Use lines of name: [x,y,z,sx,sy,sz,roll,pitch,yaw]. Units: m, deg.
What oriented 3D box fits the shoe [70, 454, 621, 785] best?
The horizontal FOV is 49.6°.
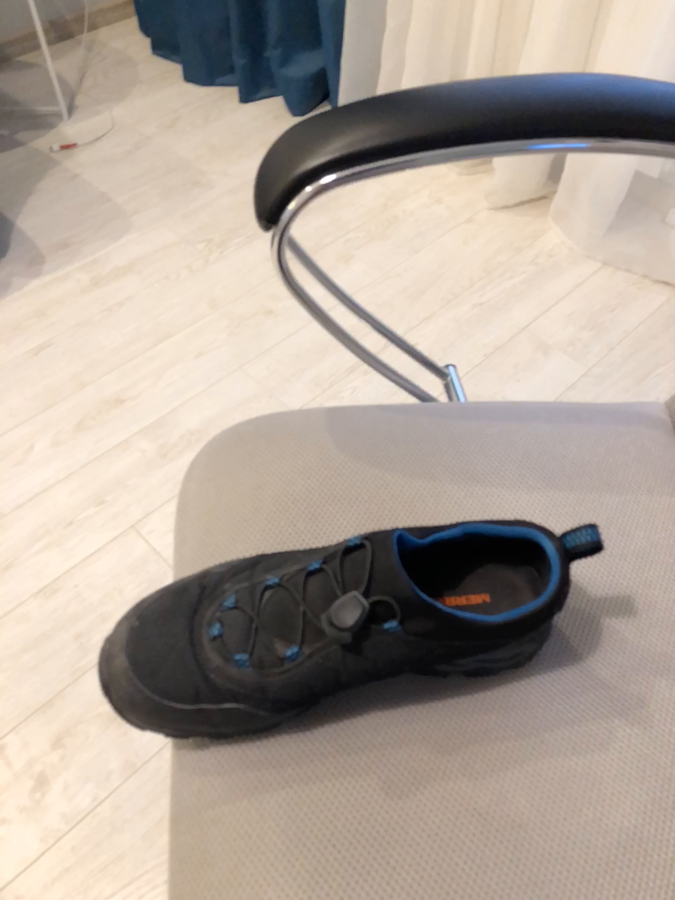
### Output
shoe: [-0.001,0.106,0.473,0.300,0.109,0.129,-8,52,-7]
